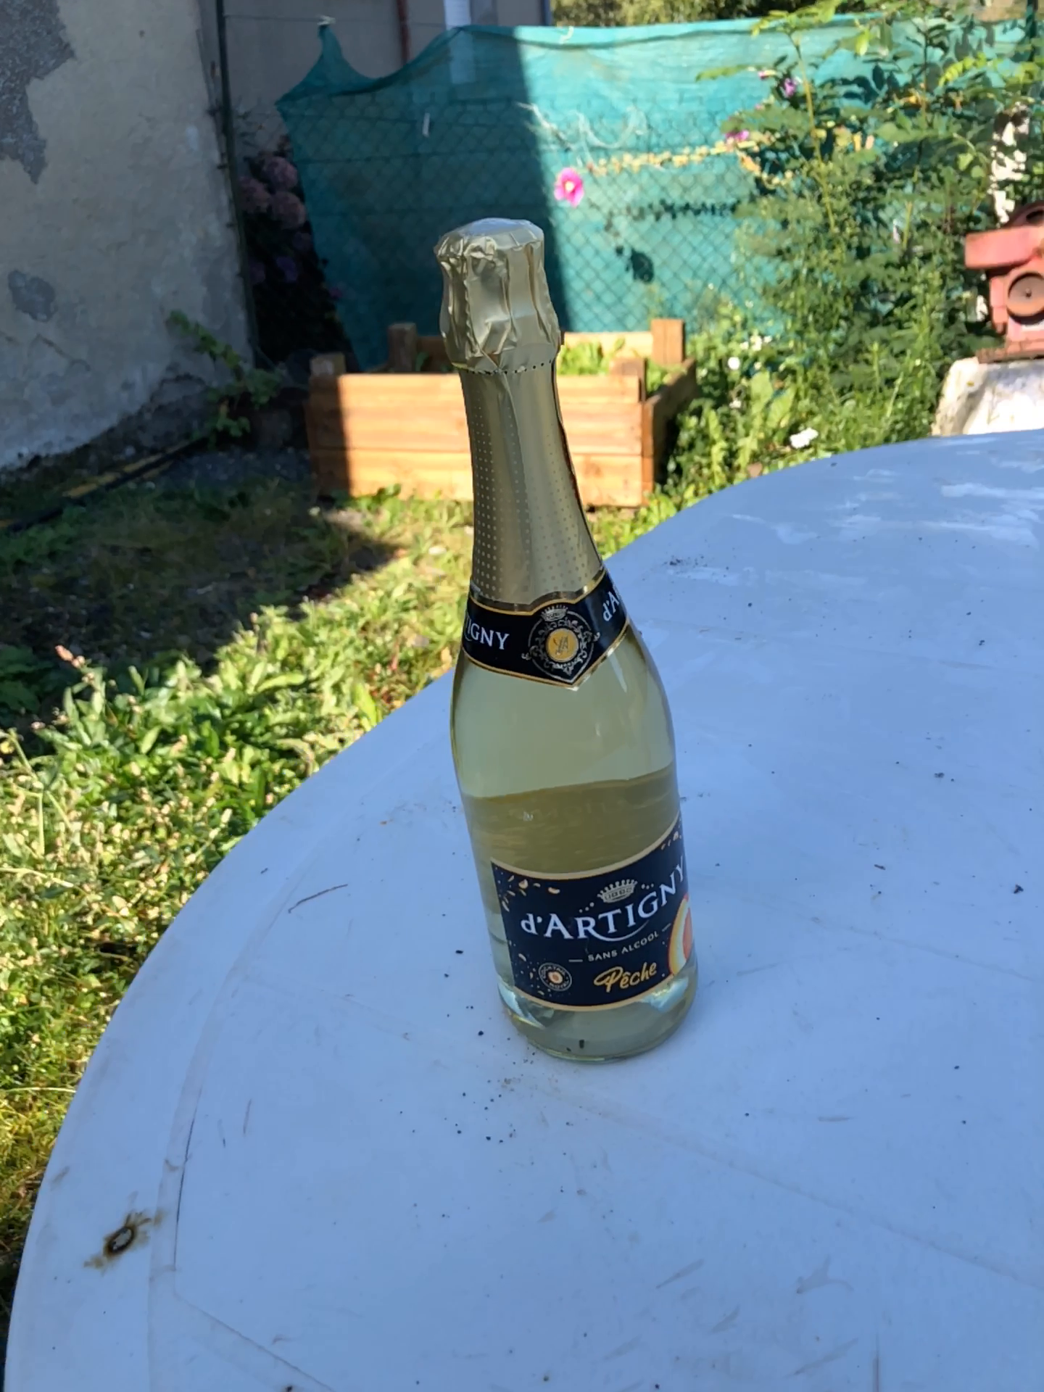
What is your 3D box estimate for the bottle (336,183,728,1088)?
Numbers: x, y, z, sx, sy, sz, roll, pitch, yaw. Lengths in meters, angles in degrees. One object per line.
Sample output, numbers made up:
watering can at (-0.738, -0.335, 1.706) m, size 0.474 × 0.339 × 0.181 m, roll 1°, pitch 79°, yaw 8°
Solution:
bottle at (0.010, -0.011, 0.408) m, size 0.090 × 0.298 × 0.090 m, roll -6°, pitch 28°, yaw 3°
